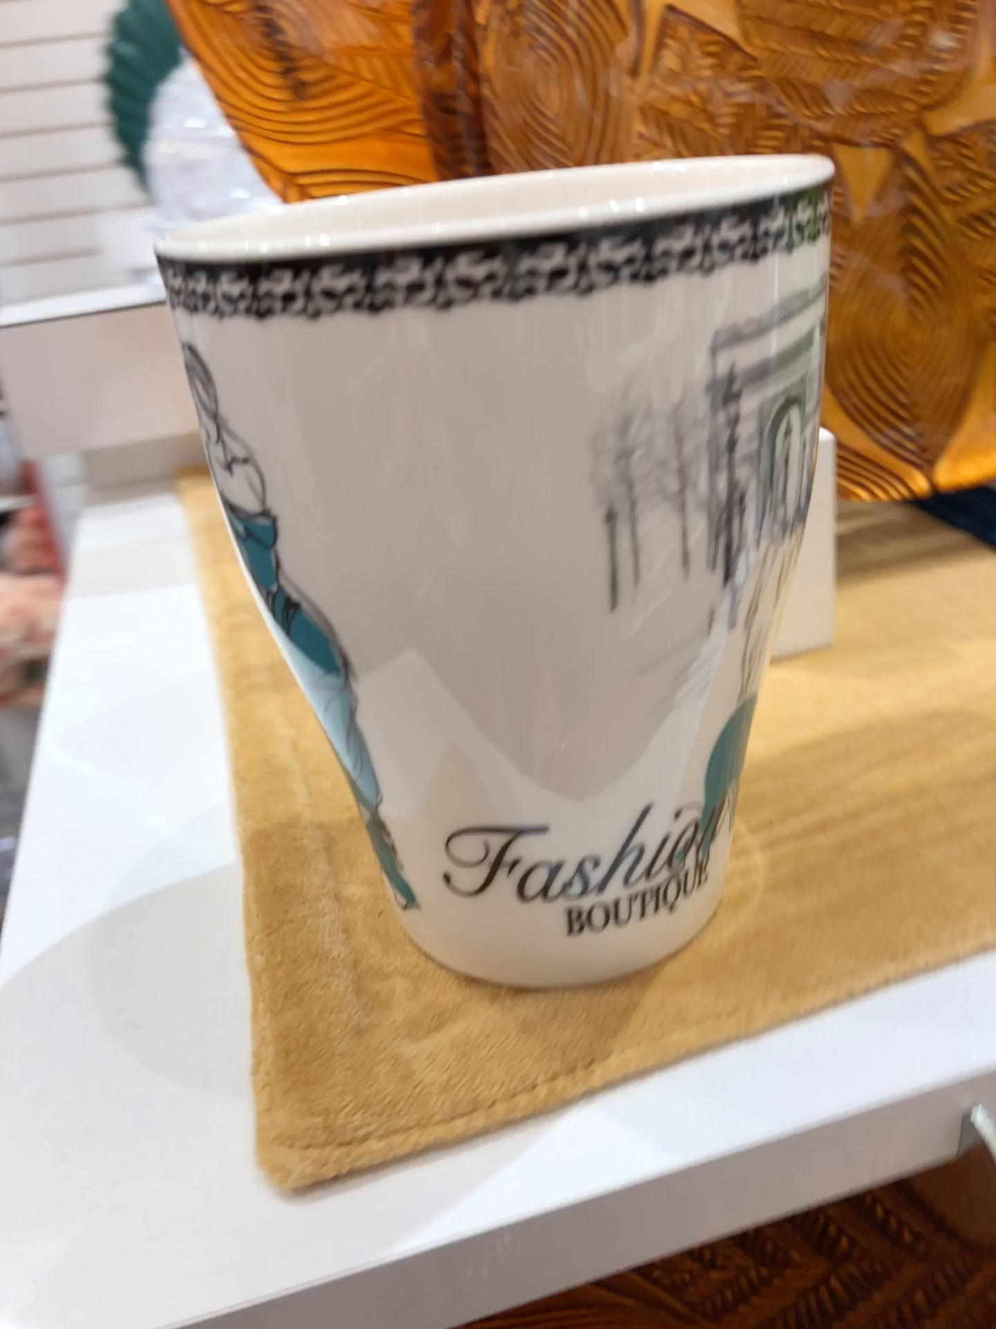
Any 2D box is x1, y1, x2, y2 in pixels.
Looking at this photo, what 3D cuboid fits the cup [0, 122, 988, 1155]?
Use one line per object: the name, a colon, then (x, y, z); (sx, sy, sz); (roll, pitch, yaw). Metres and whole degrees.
cup: (0.010, -0.019, 0.169); (0.080, 0.100, 0.110); (14, 33, 37)
